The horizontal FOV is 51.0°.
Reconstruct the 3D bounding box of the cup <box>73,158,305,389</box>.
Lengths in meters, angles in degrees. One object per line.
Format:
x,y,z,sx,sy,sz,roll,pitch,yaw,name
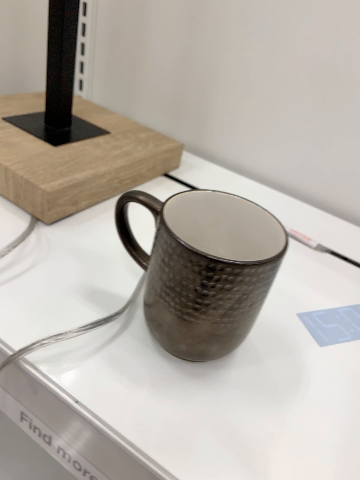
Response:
0.004,0.017,0.285,0.131,0.093,0.095,26,36,16,cup
